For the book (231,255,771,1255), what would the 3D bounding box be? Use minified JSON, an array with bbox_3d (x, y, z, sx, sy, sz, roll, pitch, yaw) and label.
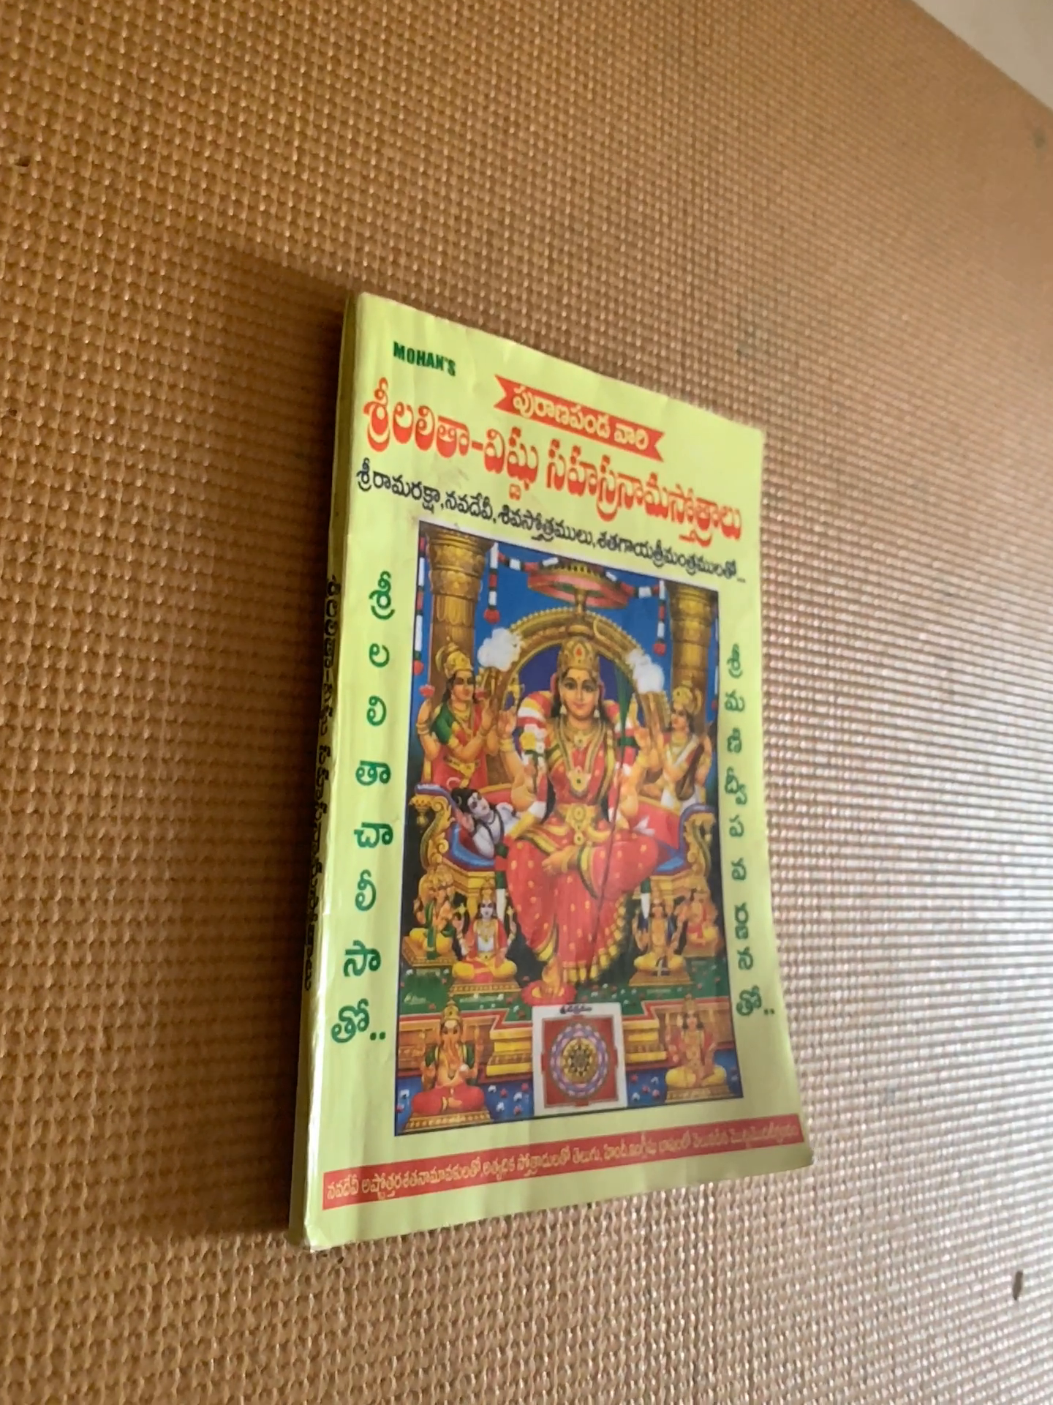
[{"bbox_3d":[0.003,0.011,0.278,0.141,0.020,0.210,8,78,-35],"label":"book"}]
